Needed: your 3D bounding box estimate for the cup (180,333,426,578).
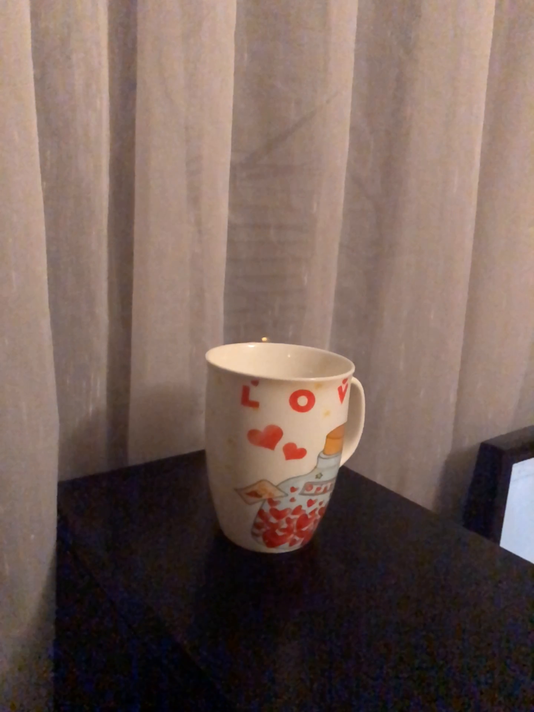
[{"bbox_3d":[0.019,0.047,0.342,0.111,0.098,0.078,-7,17,-38],"label":"cup"}]
